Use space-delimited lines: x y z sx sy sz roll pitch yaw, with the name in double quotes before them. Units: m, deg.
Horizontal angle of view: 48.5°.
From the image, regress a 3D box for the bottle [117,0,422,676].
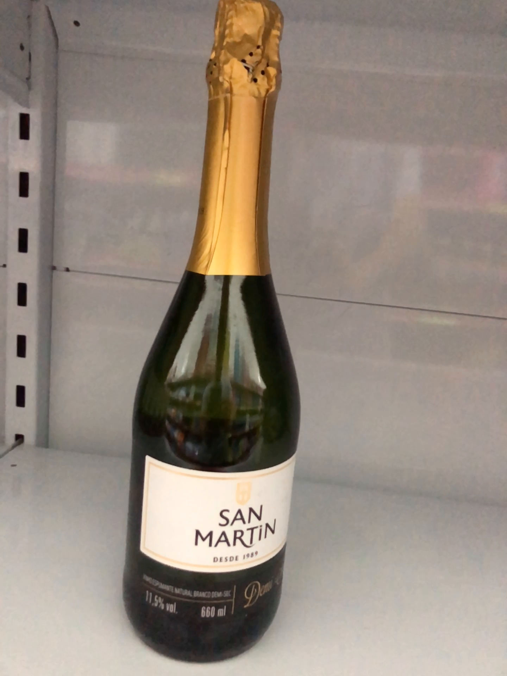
"bottle" -0.006 -0.011 0.264 0.090 0.309 0.080 1 12 -20
